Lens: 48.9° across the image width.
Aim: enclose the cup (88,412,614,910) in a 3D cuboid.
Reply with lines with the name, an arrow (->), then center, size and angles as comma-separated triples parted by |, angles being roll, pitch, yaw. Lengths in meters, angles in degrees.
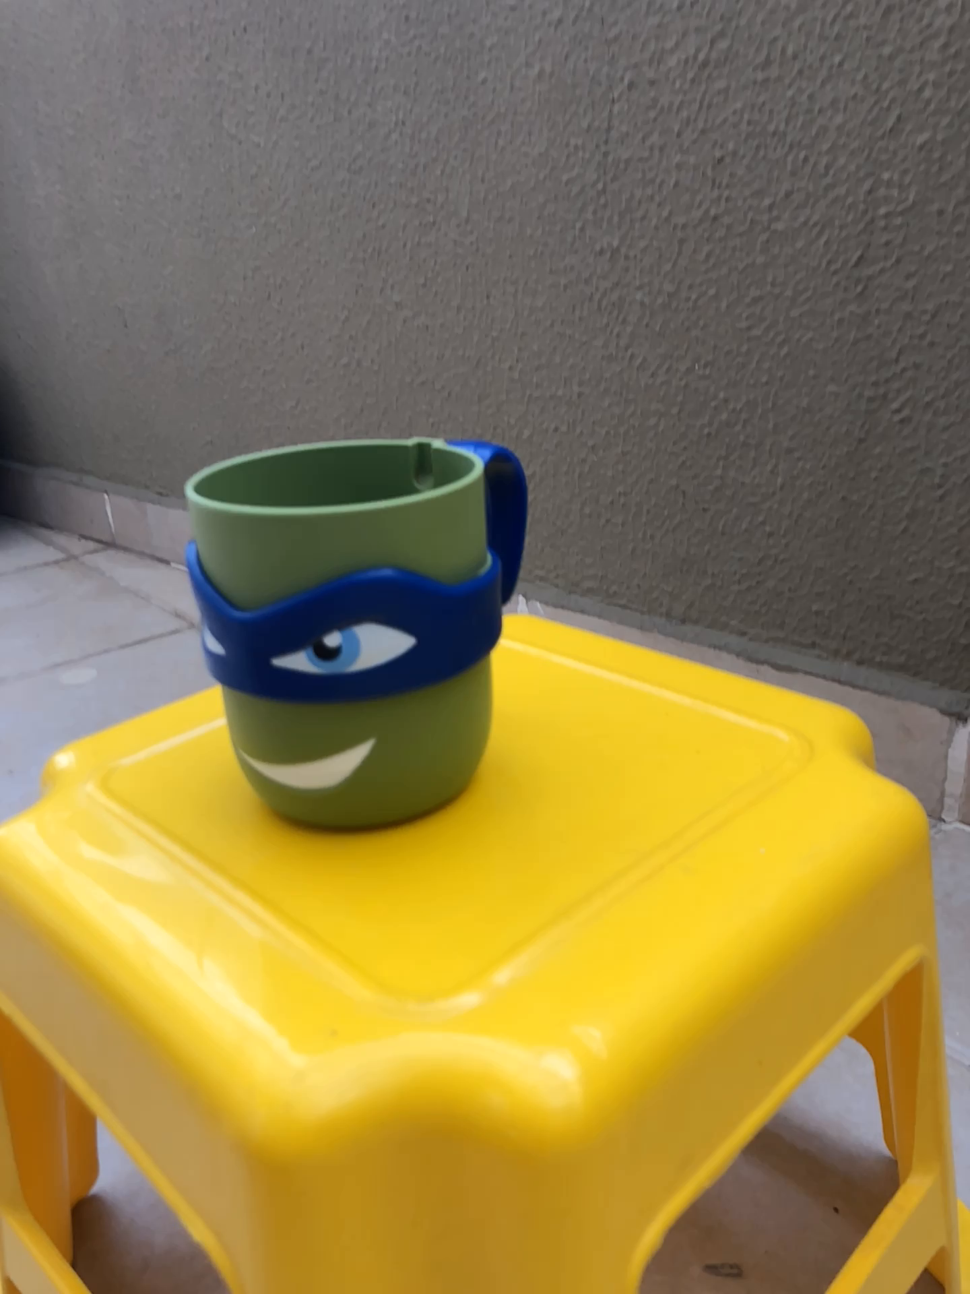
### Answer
cup -> -0.028, -0.007, 0.289 | 0.080, 0.089, 0.110 | 11, 26, 34
